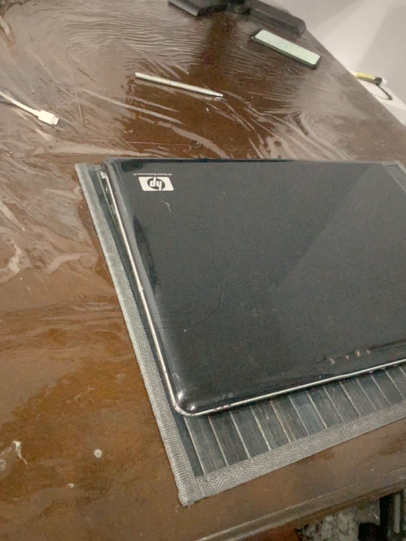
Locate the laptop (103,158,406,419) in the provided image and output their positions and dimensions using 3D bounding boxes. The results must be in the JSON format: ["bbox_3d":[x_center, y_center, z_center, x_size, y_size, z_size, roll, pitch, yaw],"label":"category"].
[{"bbox_3d":[0.099,-0.022,0.386,0.340,0.009,0.231,-6,55,-27],"label":"laptop"}]
